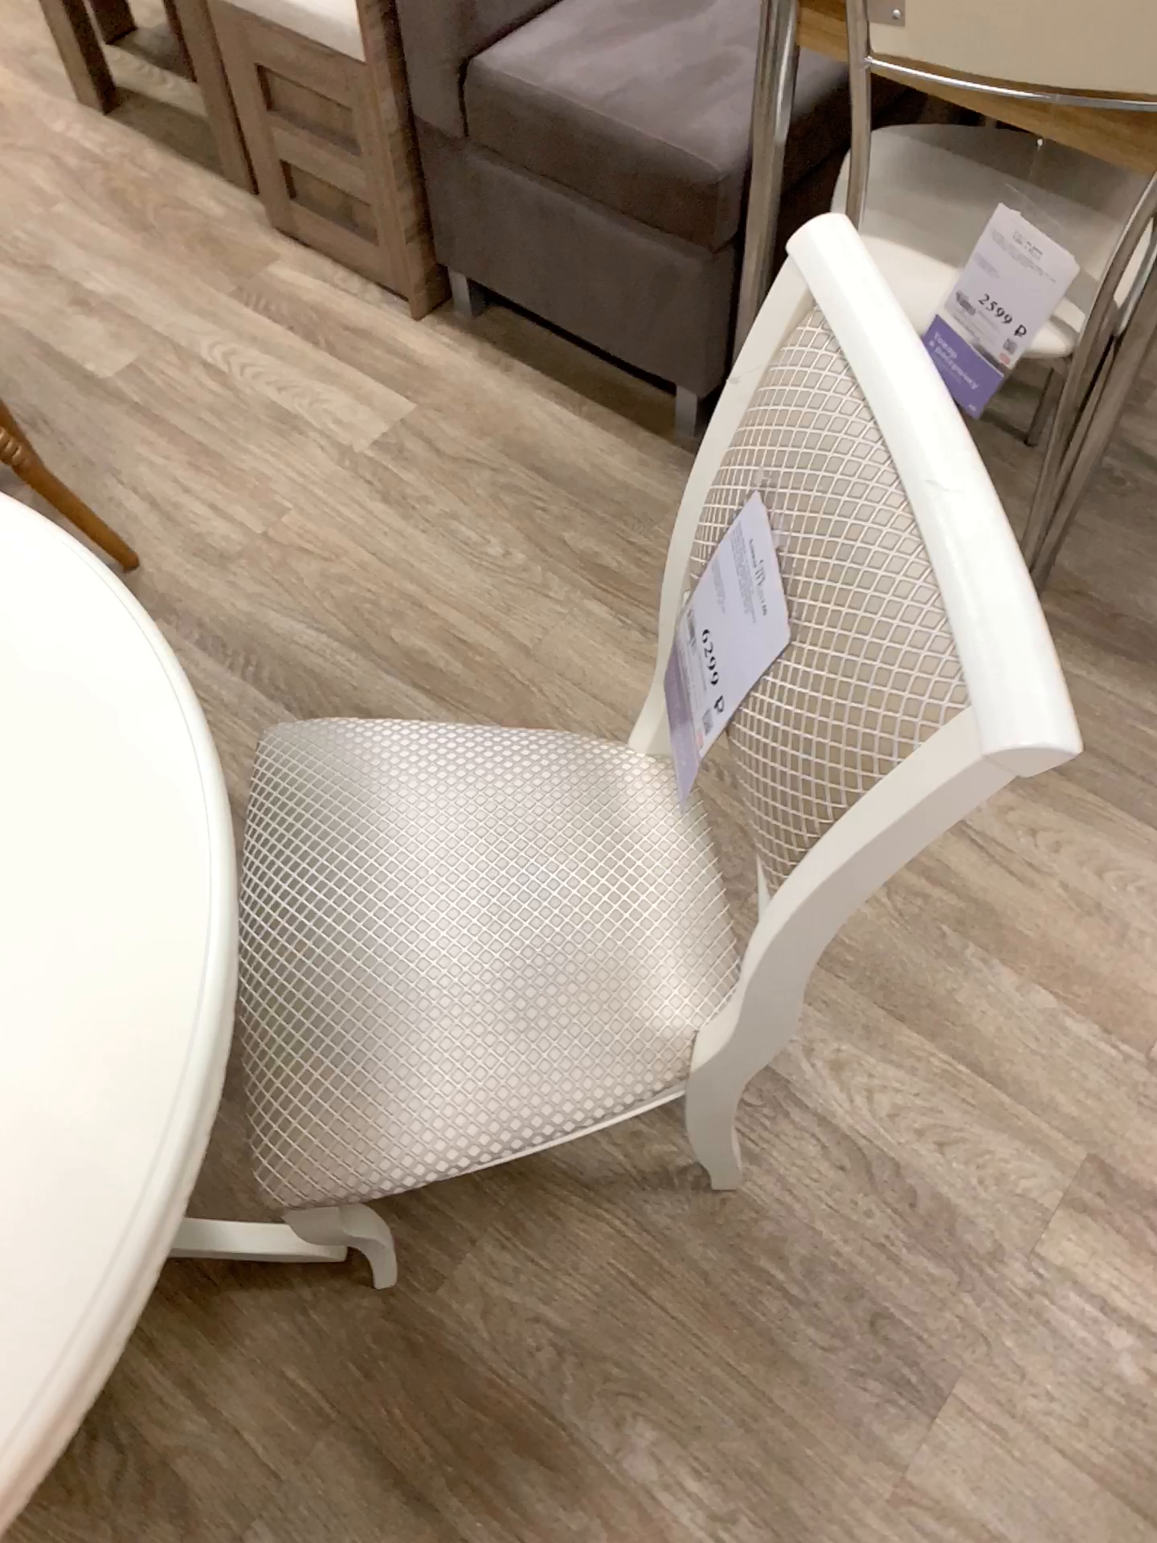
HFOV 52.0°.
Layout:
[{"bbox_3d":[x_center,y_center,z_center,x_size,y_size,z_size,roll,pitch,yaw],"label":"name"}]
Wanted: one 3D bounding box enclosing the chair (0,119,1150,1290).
[{"bbox_3d":[-0.035,0.064,1.000,0.510,0.907,0.461,-12,59,-5],"label":"chair"}]
